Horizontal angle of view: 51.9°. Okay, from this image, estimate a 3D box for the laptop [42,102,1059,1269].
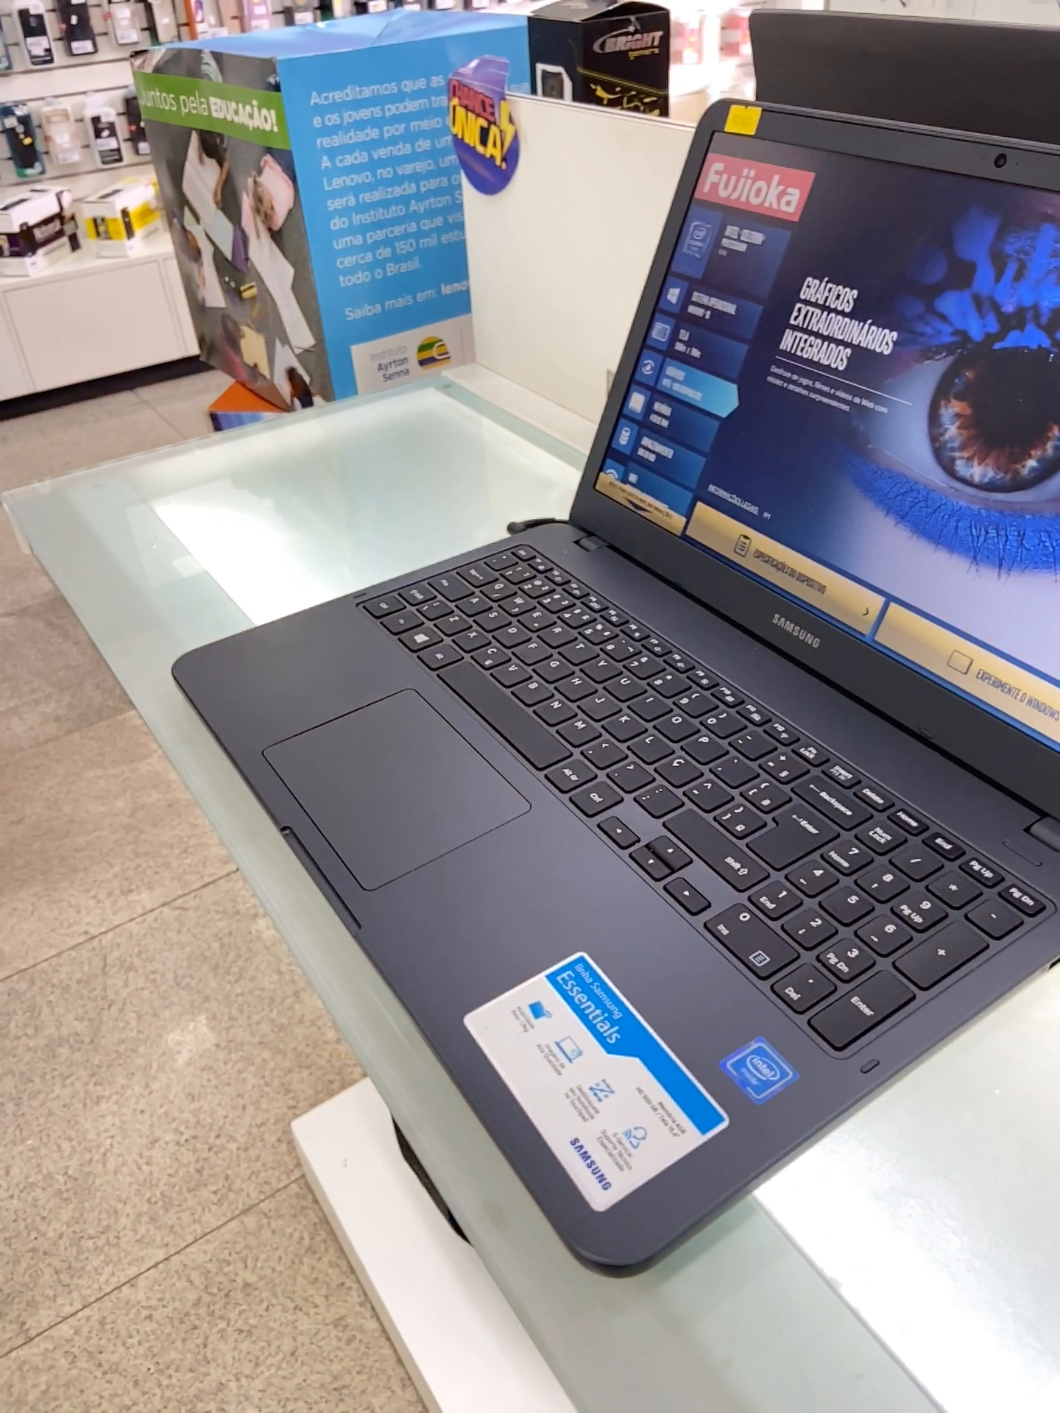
[{"bbox_3d":[0.058,-0.083,0.434,0.347,0.207,0.368,-24,40,-24],"label":"laptop"}]
